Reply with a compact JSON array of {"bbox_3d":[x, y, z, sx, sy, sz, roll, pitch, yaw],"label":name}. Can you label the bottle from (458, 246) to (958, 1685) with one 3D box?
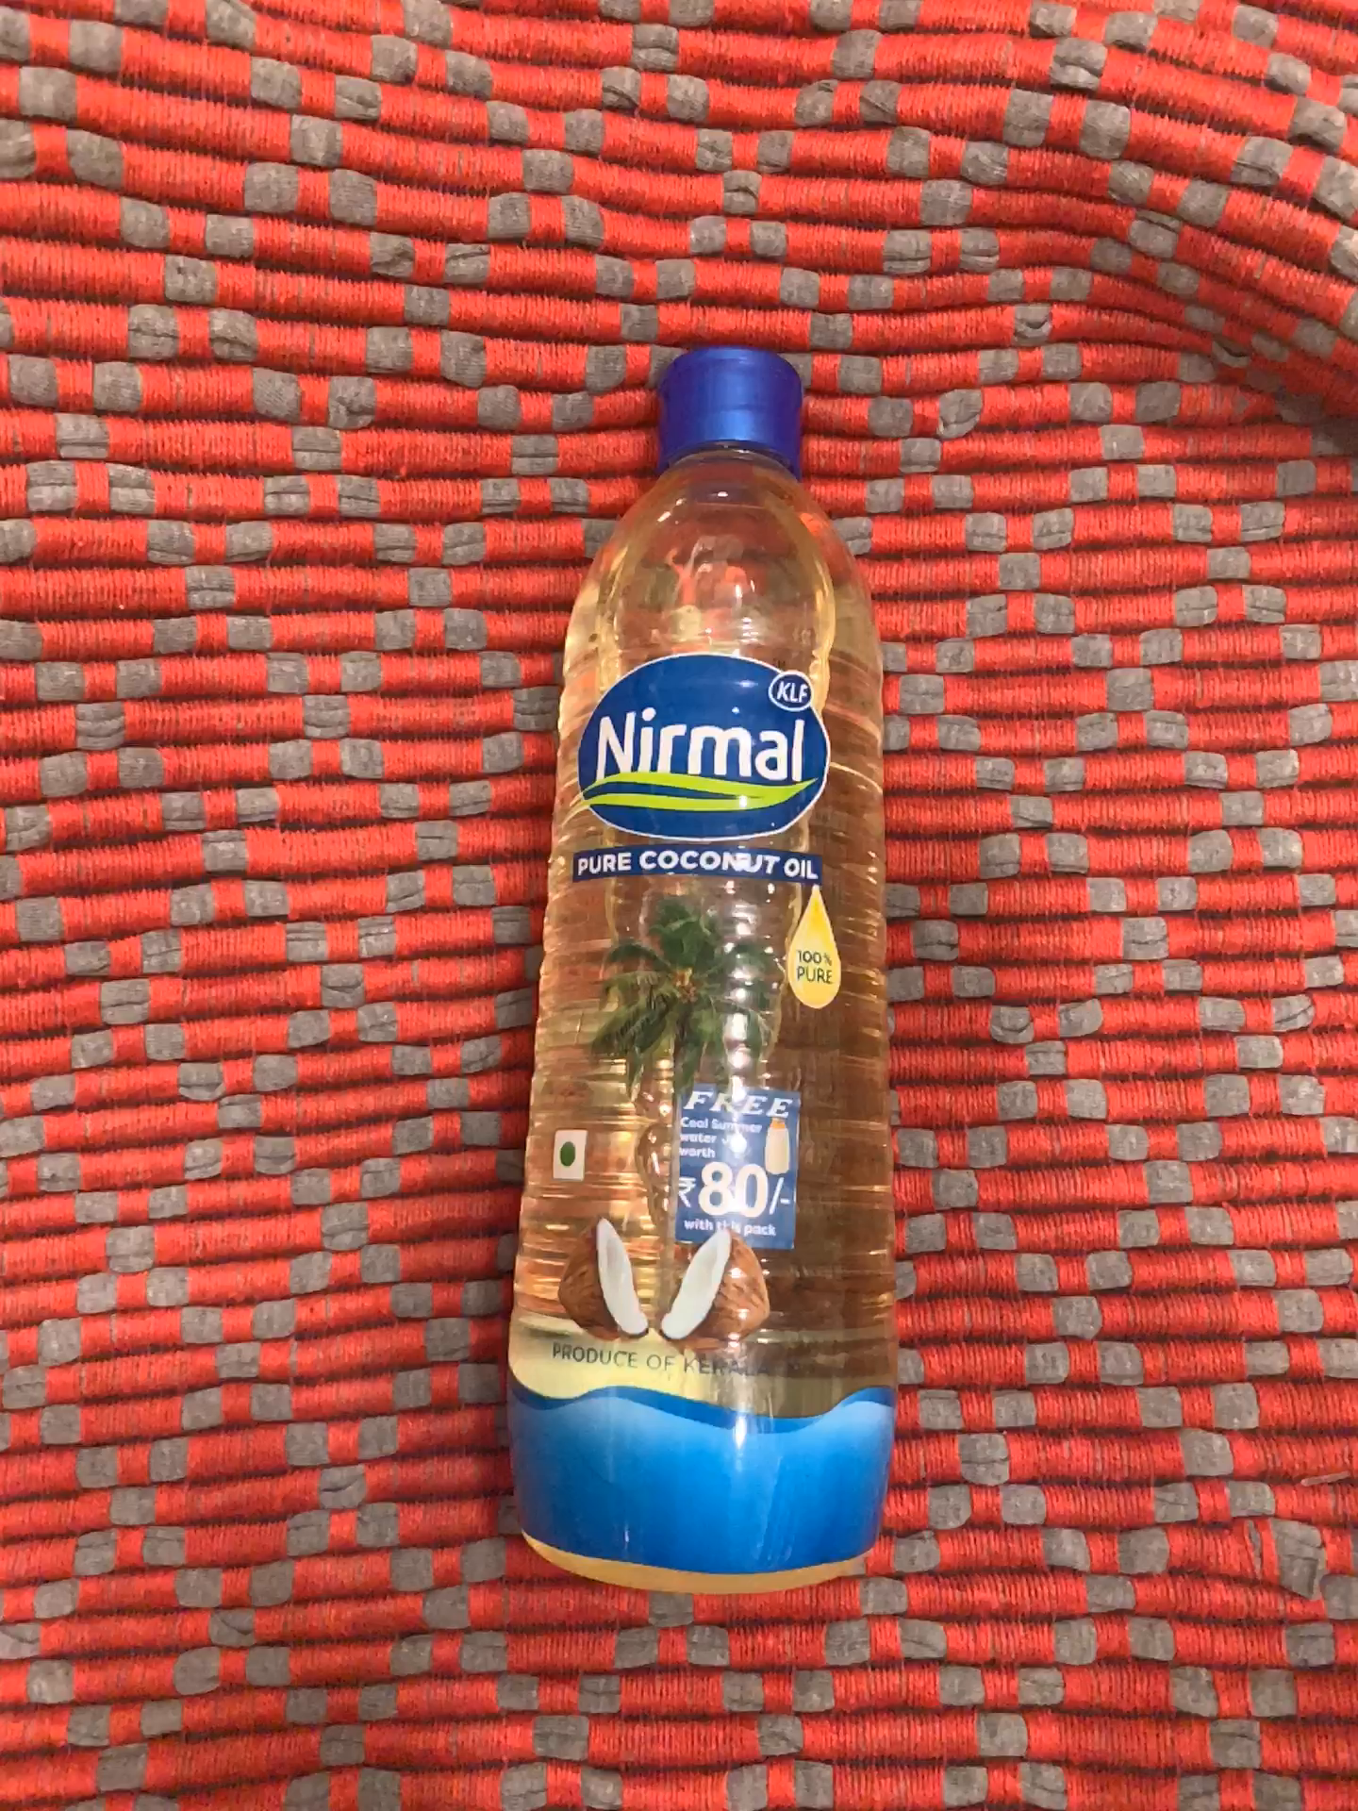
[{"bbox_3d":[0.009,0.003,0.222,0.060,0.050,0.200,2,81,6],"label":"bottle"}]
